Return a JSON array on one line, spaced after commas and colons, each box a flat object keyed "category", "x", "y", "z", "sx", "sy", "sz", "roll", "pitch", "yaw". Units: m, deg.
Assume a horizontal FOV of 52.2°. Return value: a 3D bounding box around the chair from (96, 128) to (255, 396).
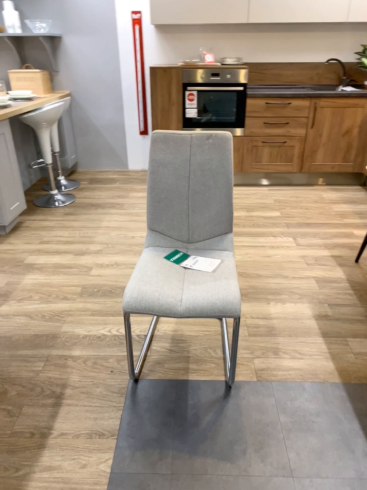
[{"category": "chair", "x": -0.005, "y": 0.056, "z": 1.623, "sx": 0.490, "sy": 0.985, "sz": 0.573, "roll": 2, "pitch": 26, "yaw": 4}]
